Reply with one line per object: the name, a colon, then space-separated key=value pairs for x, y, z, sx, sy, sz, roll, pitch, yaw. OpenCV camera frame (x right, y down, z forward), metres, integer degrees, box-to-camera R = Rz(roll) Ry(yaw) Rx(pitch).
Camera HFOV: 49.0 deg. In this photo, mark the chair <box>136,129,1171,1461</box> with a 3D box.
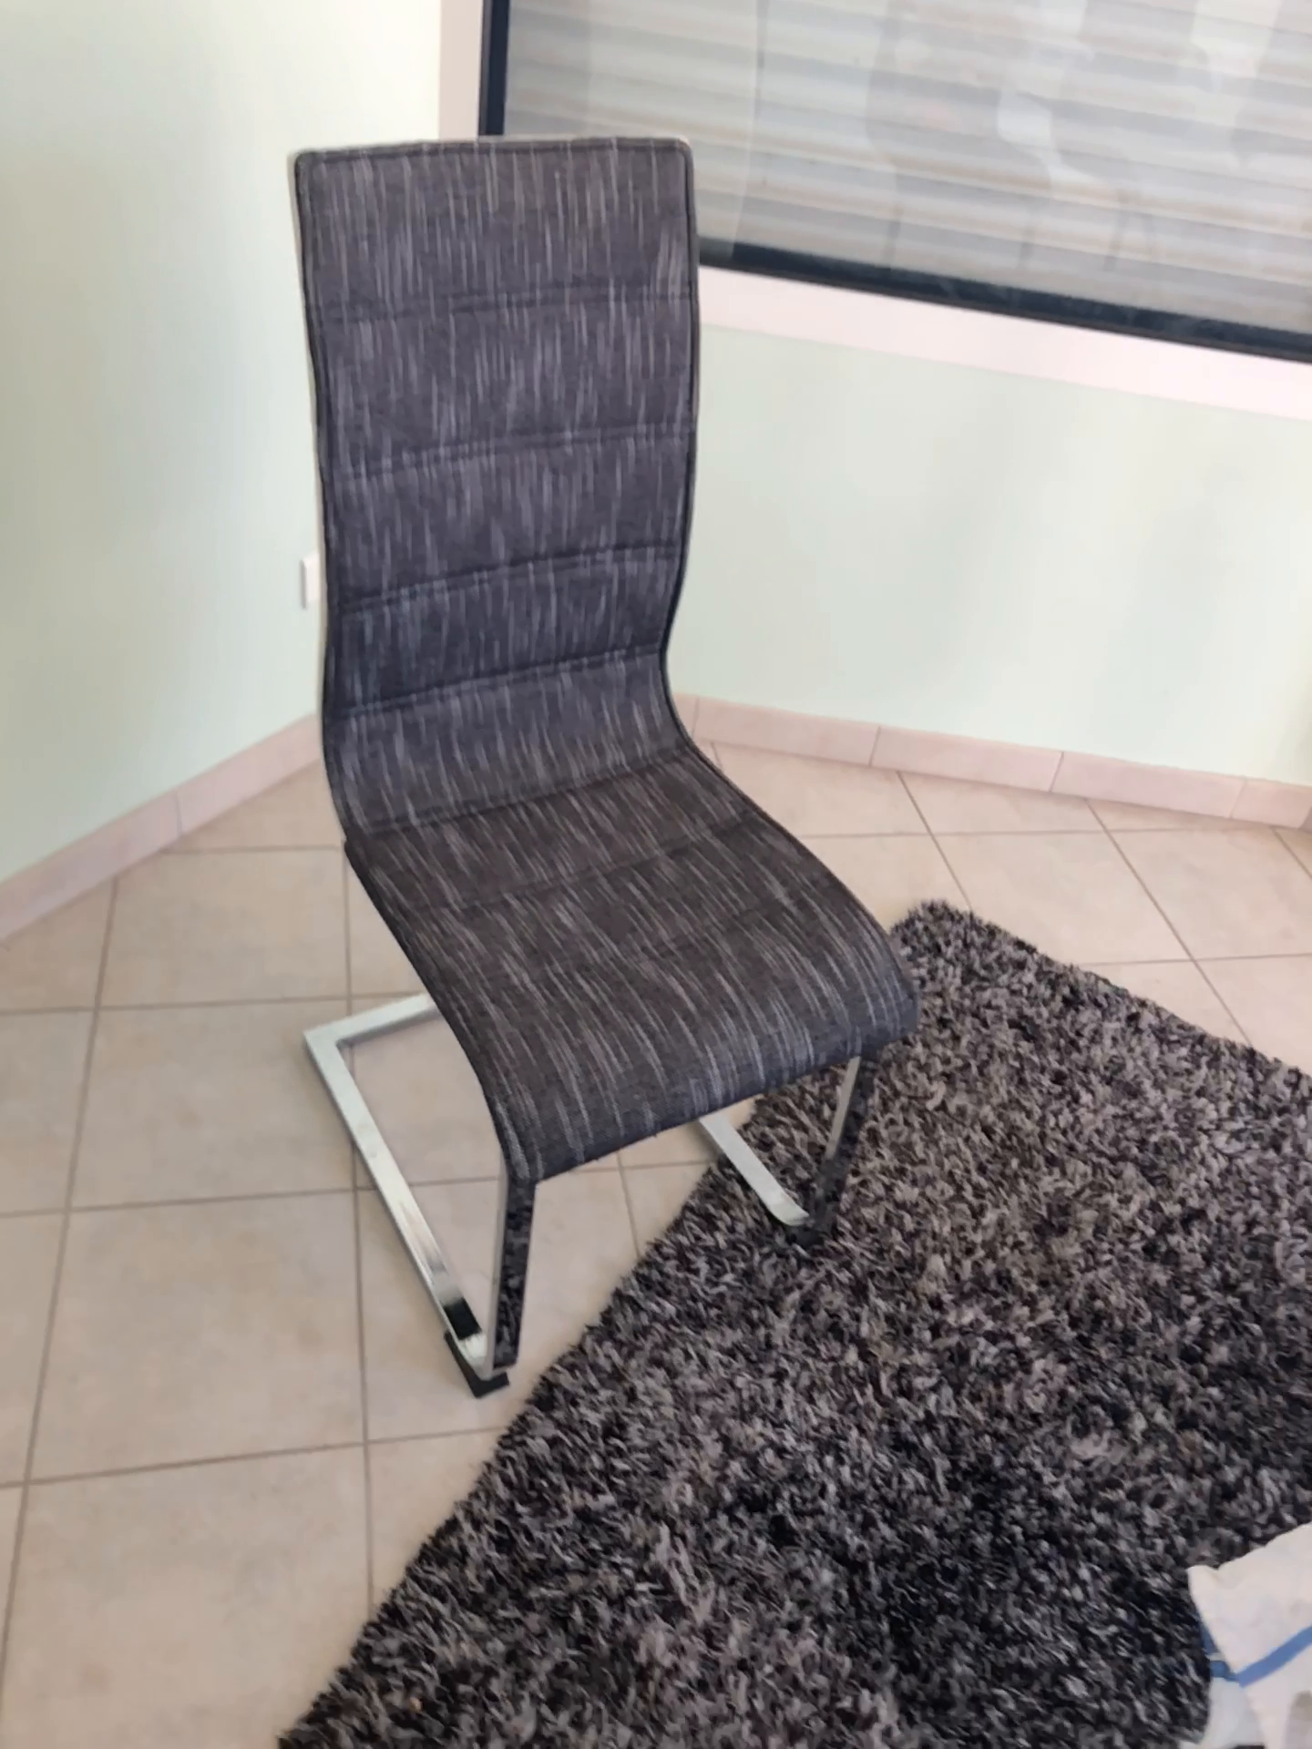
chair: x=-0.083 y=-0.071 z=1.312 sx=0.502 sy=0.964 sz=0.582 roll=-17 pitch=46 yaw=-28
